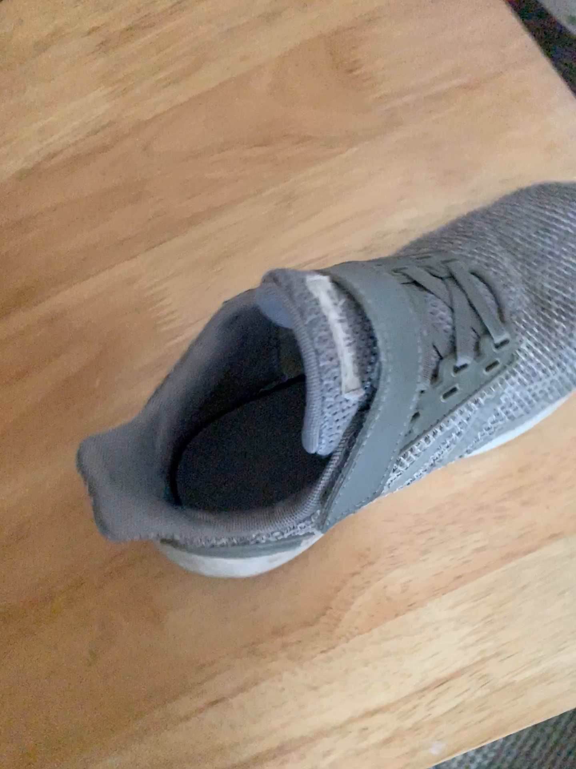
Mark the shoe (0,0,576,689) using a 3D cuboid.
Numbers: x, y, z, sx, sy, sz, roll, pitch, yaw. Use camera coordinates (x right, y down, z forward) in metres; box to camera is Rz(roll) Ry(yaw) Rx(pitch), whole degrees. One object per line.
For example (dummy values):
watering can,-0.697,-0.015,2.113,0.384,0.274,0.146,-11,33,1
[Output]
shoe,0.036,-0.012,0.200,0.220,0.080,0.090,-31,78,-3
